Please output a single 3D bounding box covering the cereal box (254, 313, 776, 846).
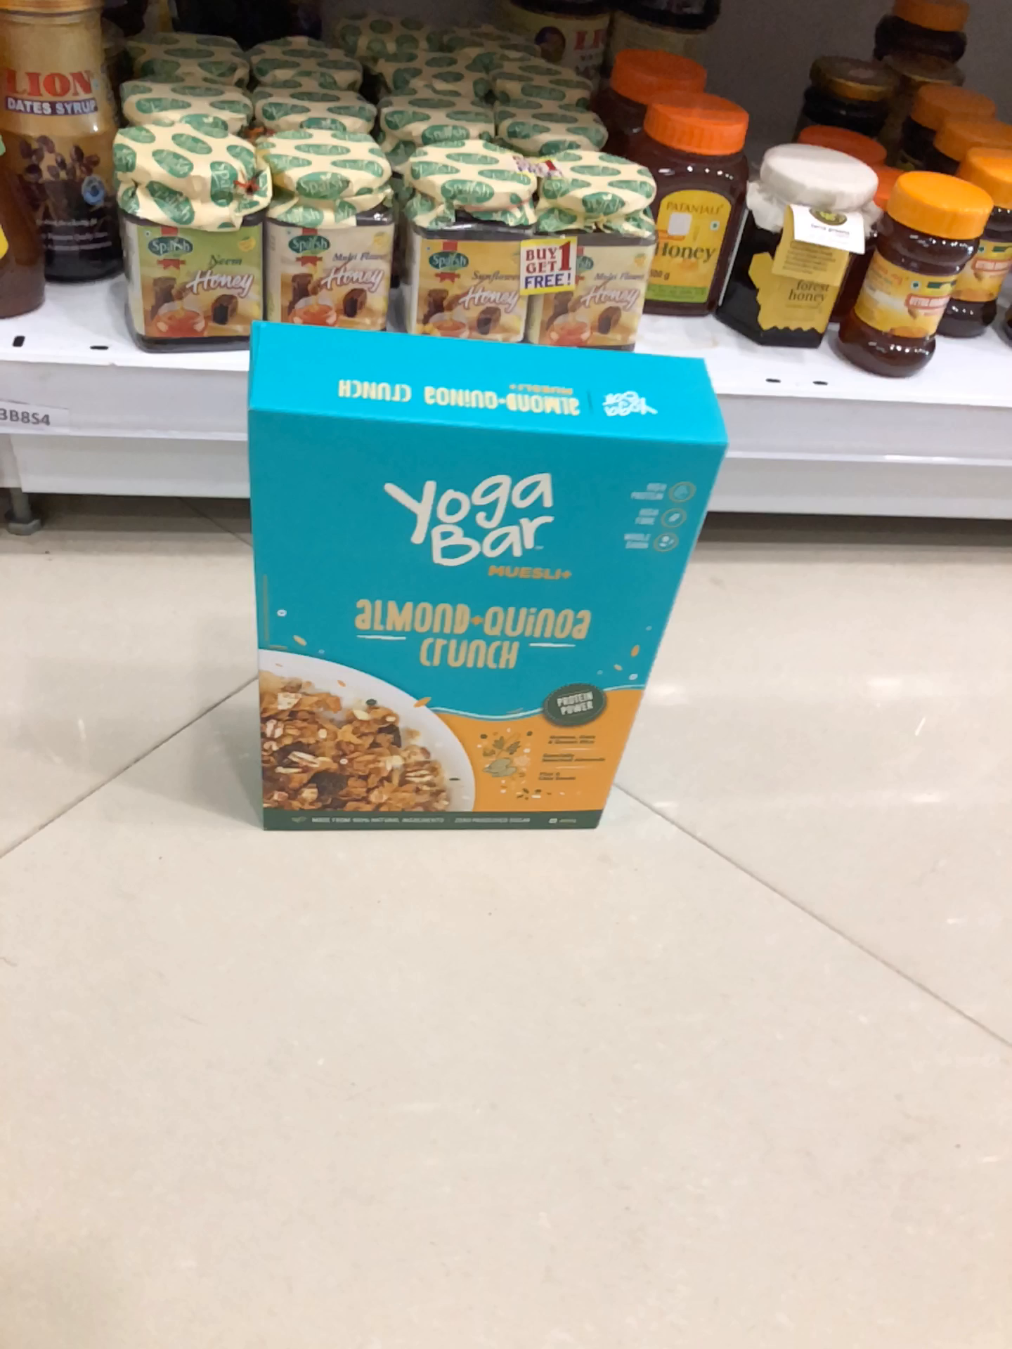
[{"bbox_3d":[-0.012,-0.022,0.459,0.170,0.228,0.060,1,46,-10],"label":"cereal box"}]
